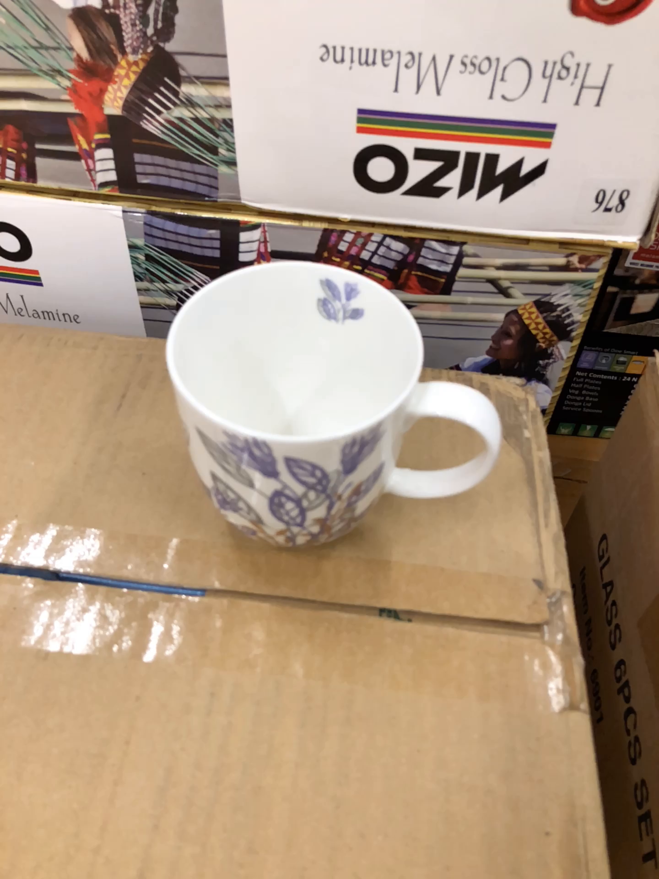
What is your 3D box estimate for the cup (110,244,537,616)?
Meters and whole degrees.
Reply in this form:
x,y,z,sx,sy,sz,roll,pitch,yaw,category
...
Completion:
x,y,z,sx,sy,sz,roll,pitch,yaw,category
0.004,-0.005,0.256,0.120,0.070,0.091,9,50,5,cup
